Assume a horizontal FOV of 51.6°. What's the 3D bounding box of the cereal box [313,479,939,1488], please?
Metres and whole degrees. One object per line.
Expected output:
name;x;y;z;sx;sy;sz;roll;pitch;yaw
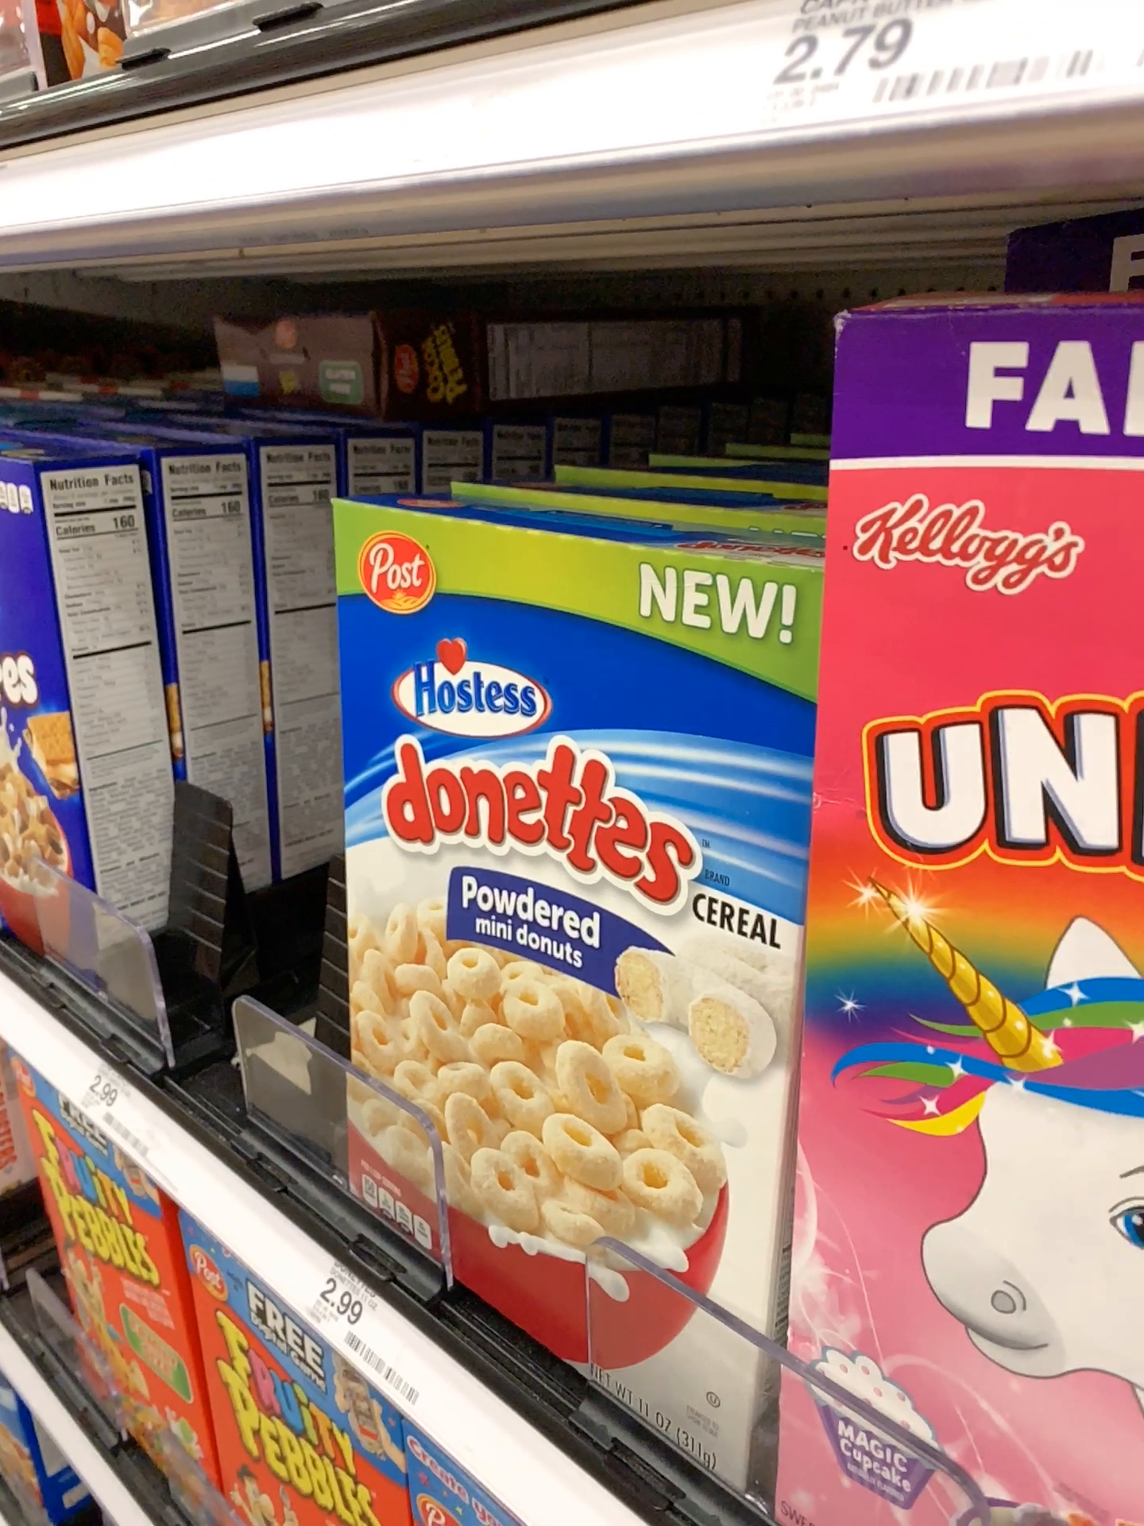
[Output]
cereal box;0.001;0.054;0.387;0.191;0.269;0.060;18;23;40
